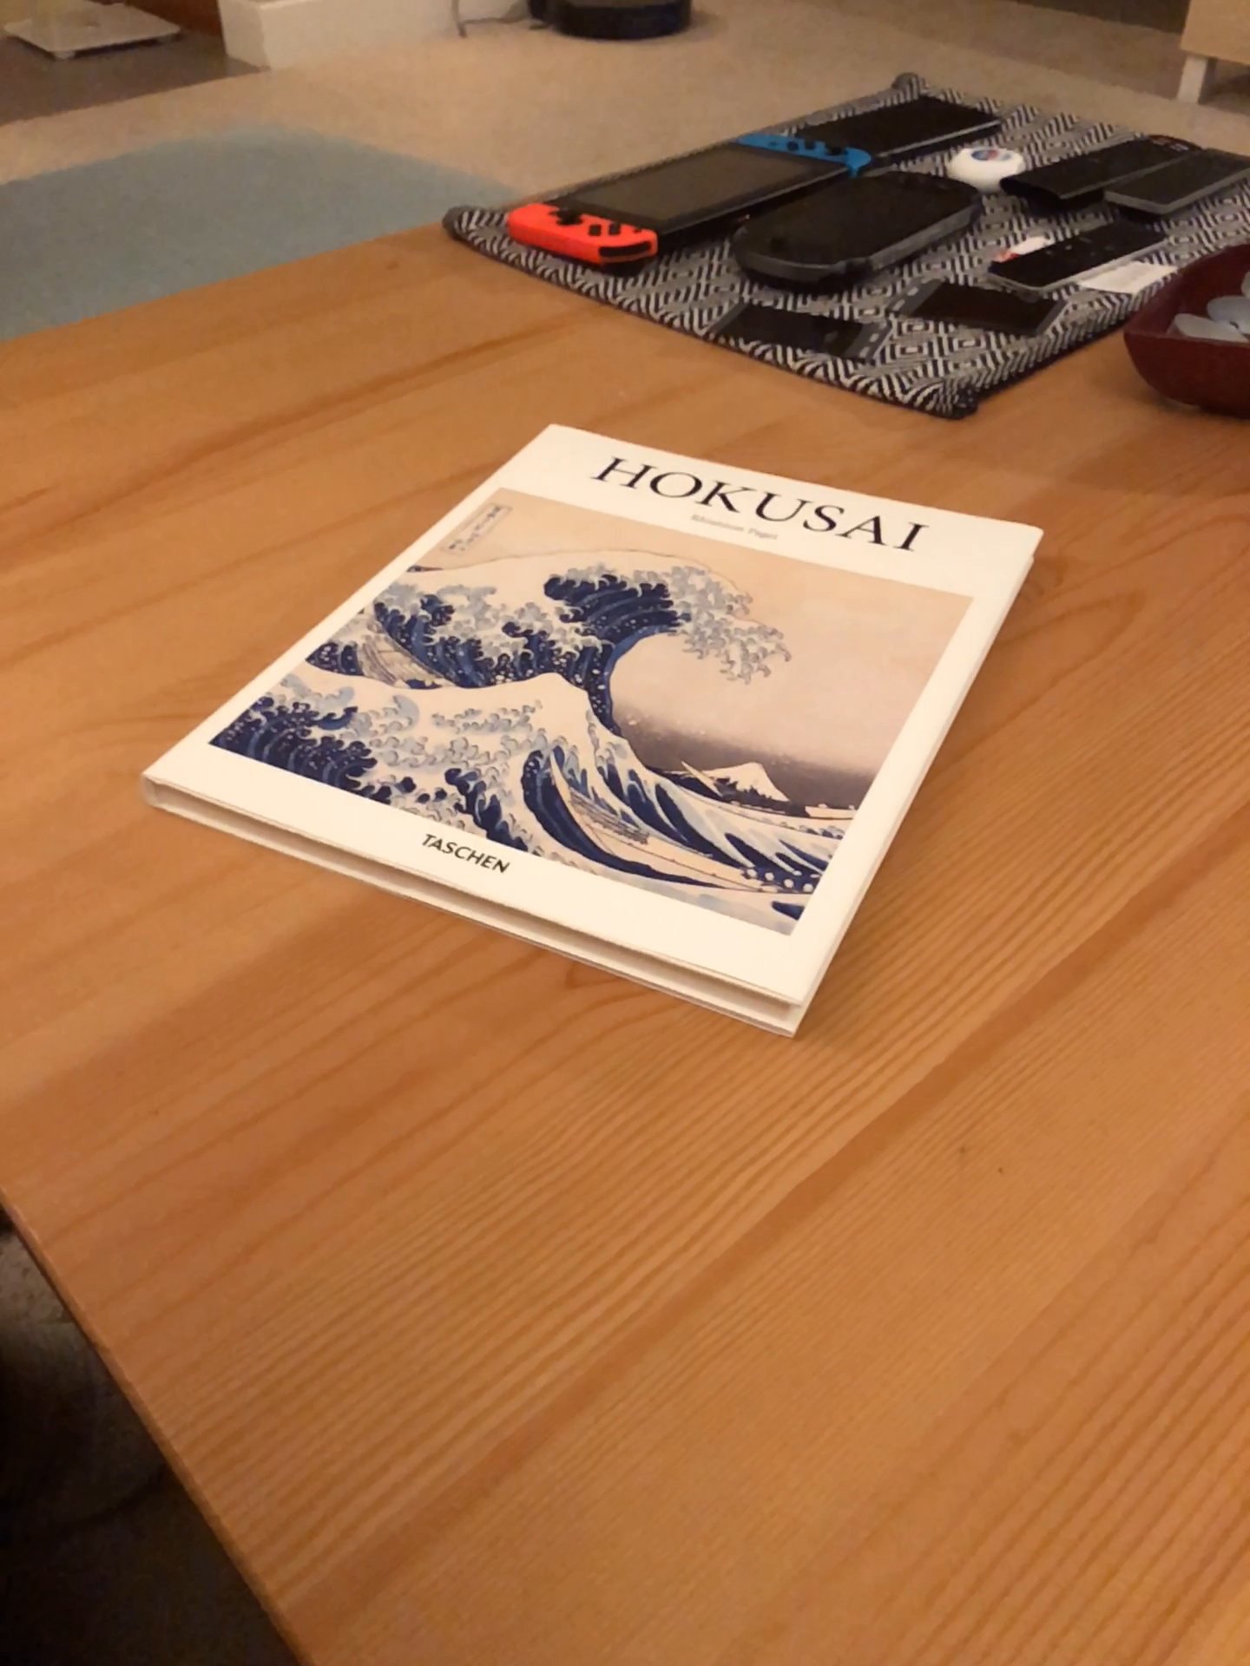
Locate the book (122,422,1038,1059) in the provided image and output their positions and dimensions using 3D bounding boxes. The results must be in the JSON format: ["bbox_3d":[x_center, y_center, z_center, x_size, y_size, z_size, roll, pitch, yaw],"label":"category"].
[{"bbox_3d":[0.002,-0.057,0.463,0.210,0.020,0.253,18,45,19],"label":"book"}]
